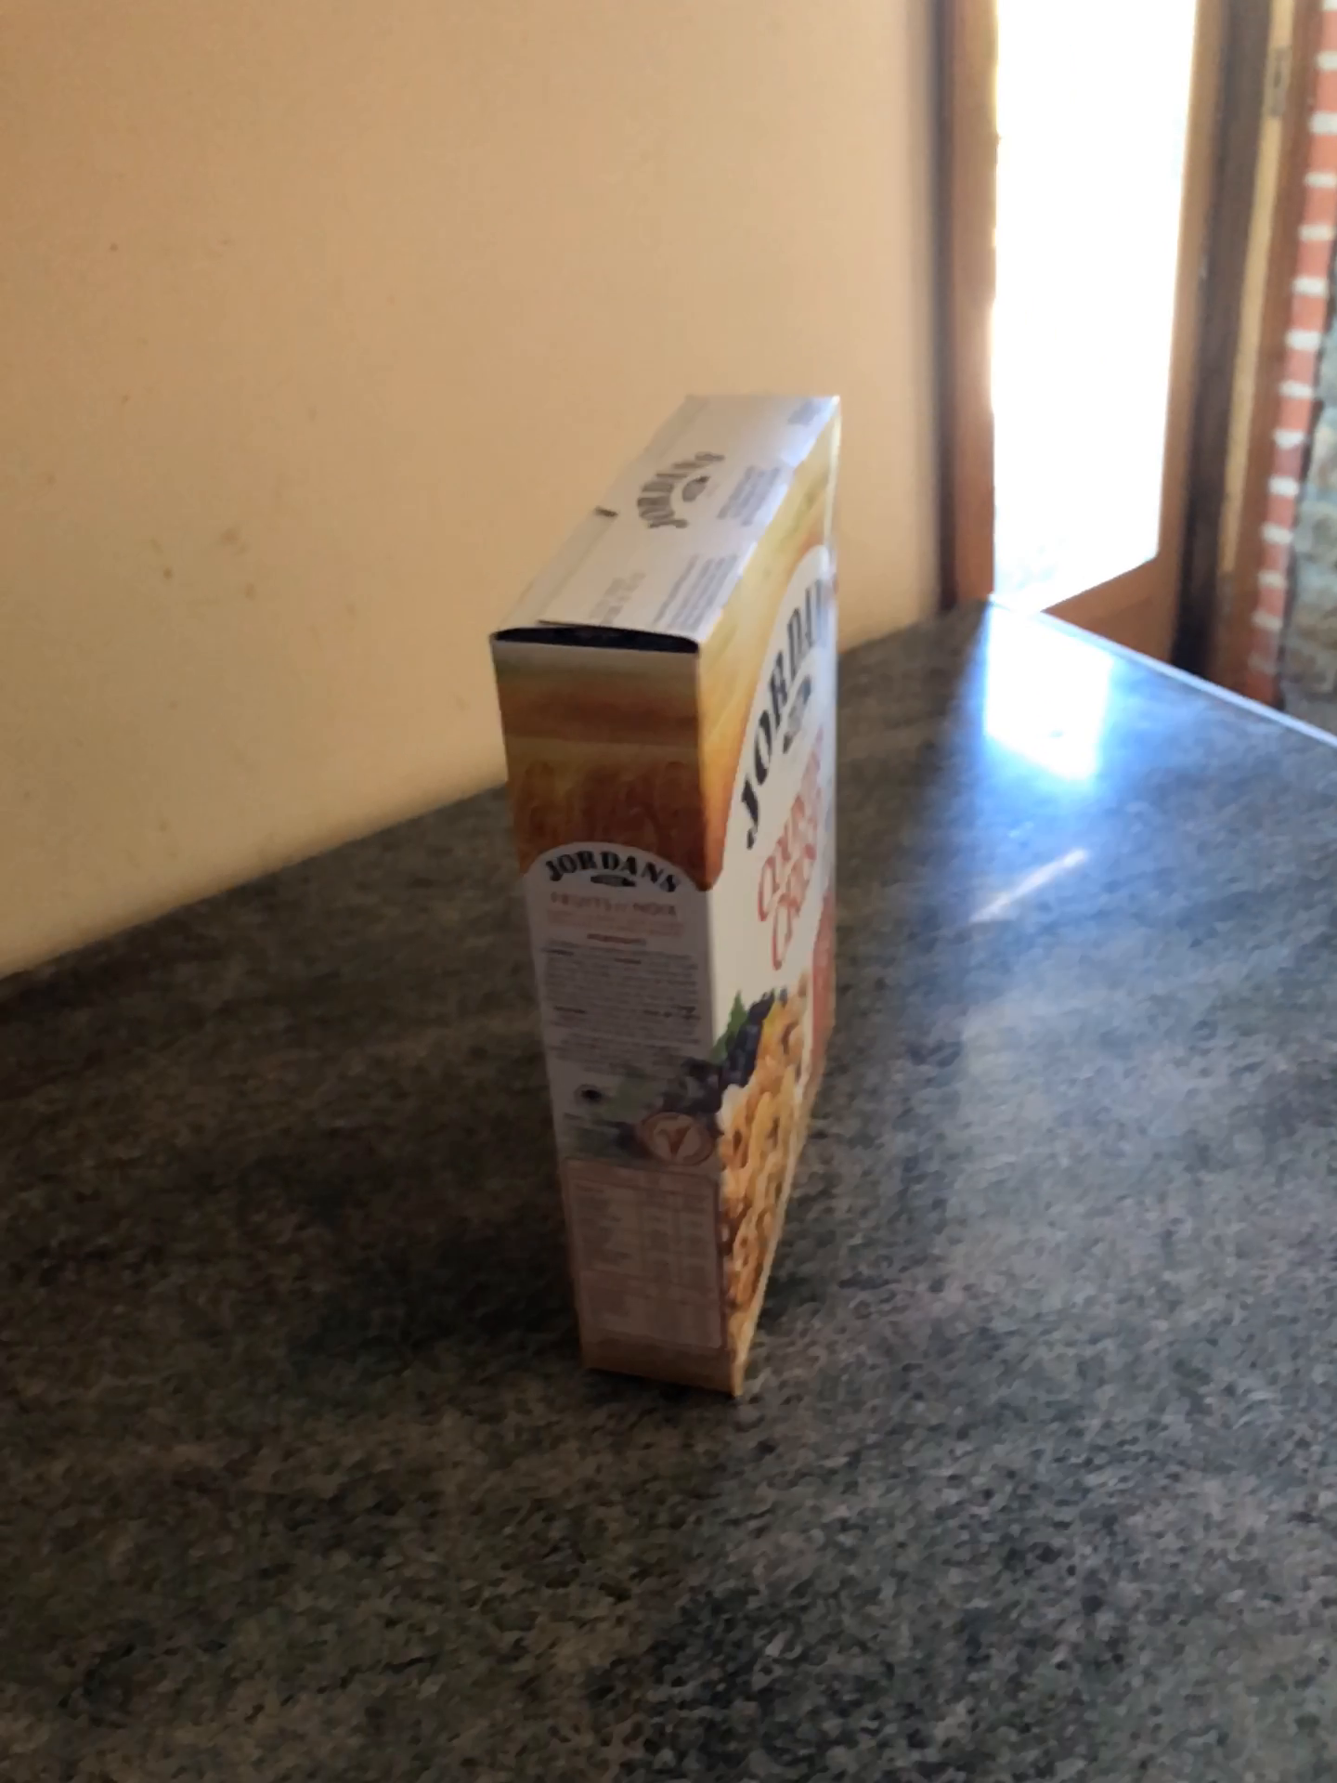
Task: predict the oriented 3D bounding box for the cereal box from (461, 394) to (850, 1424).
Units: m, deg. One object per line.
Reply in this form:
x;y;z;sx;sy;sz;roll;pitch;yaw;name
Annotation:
0.012;-0.001;0.458;0.060;0.249;0.191;5;33;12;cereal box
